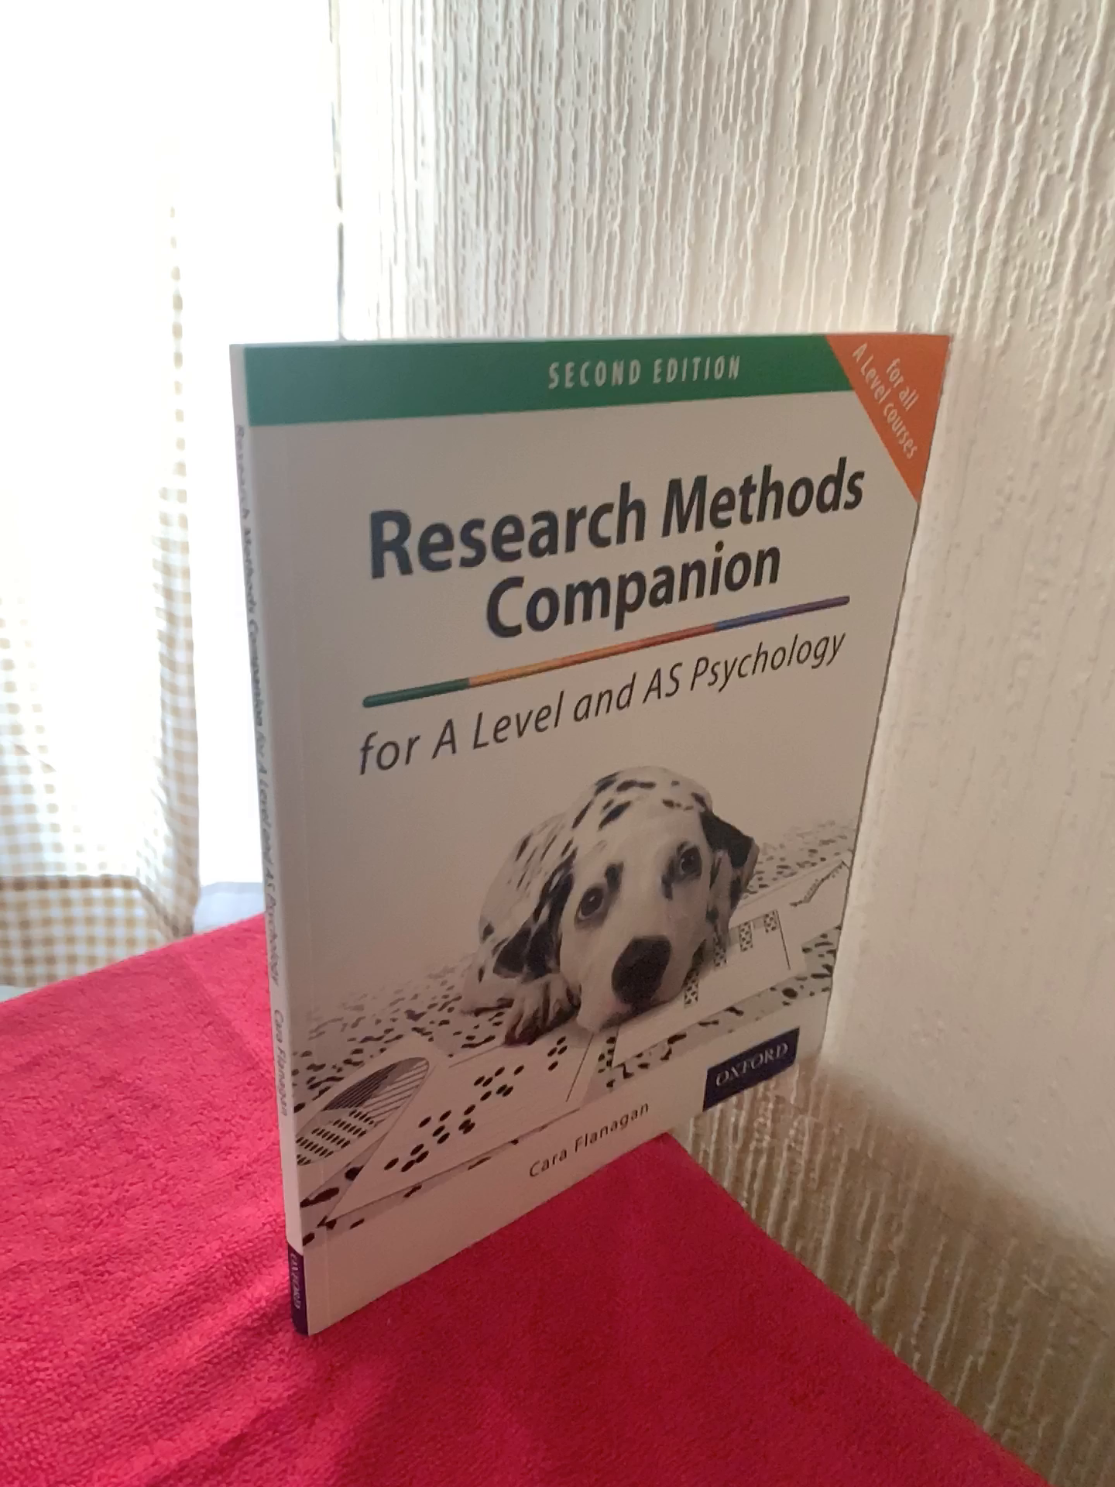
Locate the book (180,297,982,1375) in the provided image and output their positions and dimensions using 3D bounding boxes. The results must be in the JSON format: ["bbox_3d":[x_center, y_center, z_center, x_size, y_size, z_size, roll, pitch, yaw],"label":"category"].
[{"bbox_3d":[0.025,0.017,0.354,0.251,0.288,0.020,-15,26,-34],"label":"book"}]
